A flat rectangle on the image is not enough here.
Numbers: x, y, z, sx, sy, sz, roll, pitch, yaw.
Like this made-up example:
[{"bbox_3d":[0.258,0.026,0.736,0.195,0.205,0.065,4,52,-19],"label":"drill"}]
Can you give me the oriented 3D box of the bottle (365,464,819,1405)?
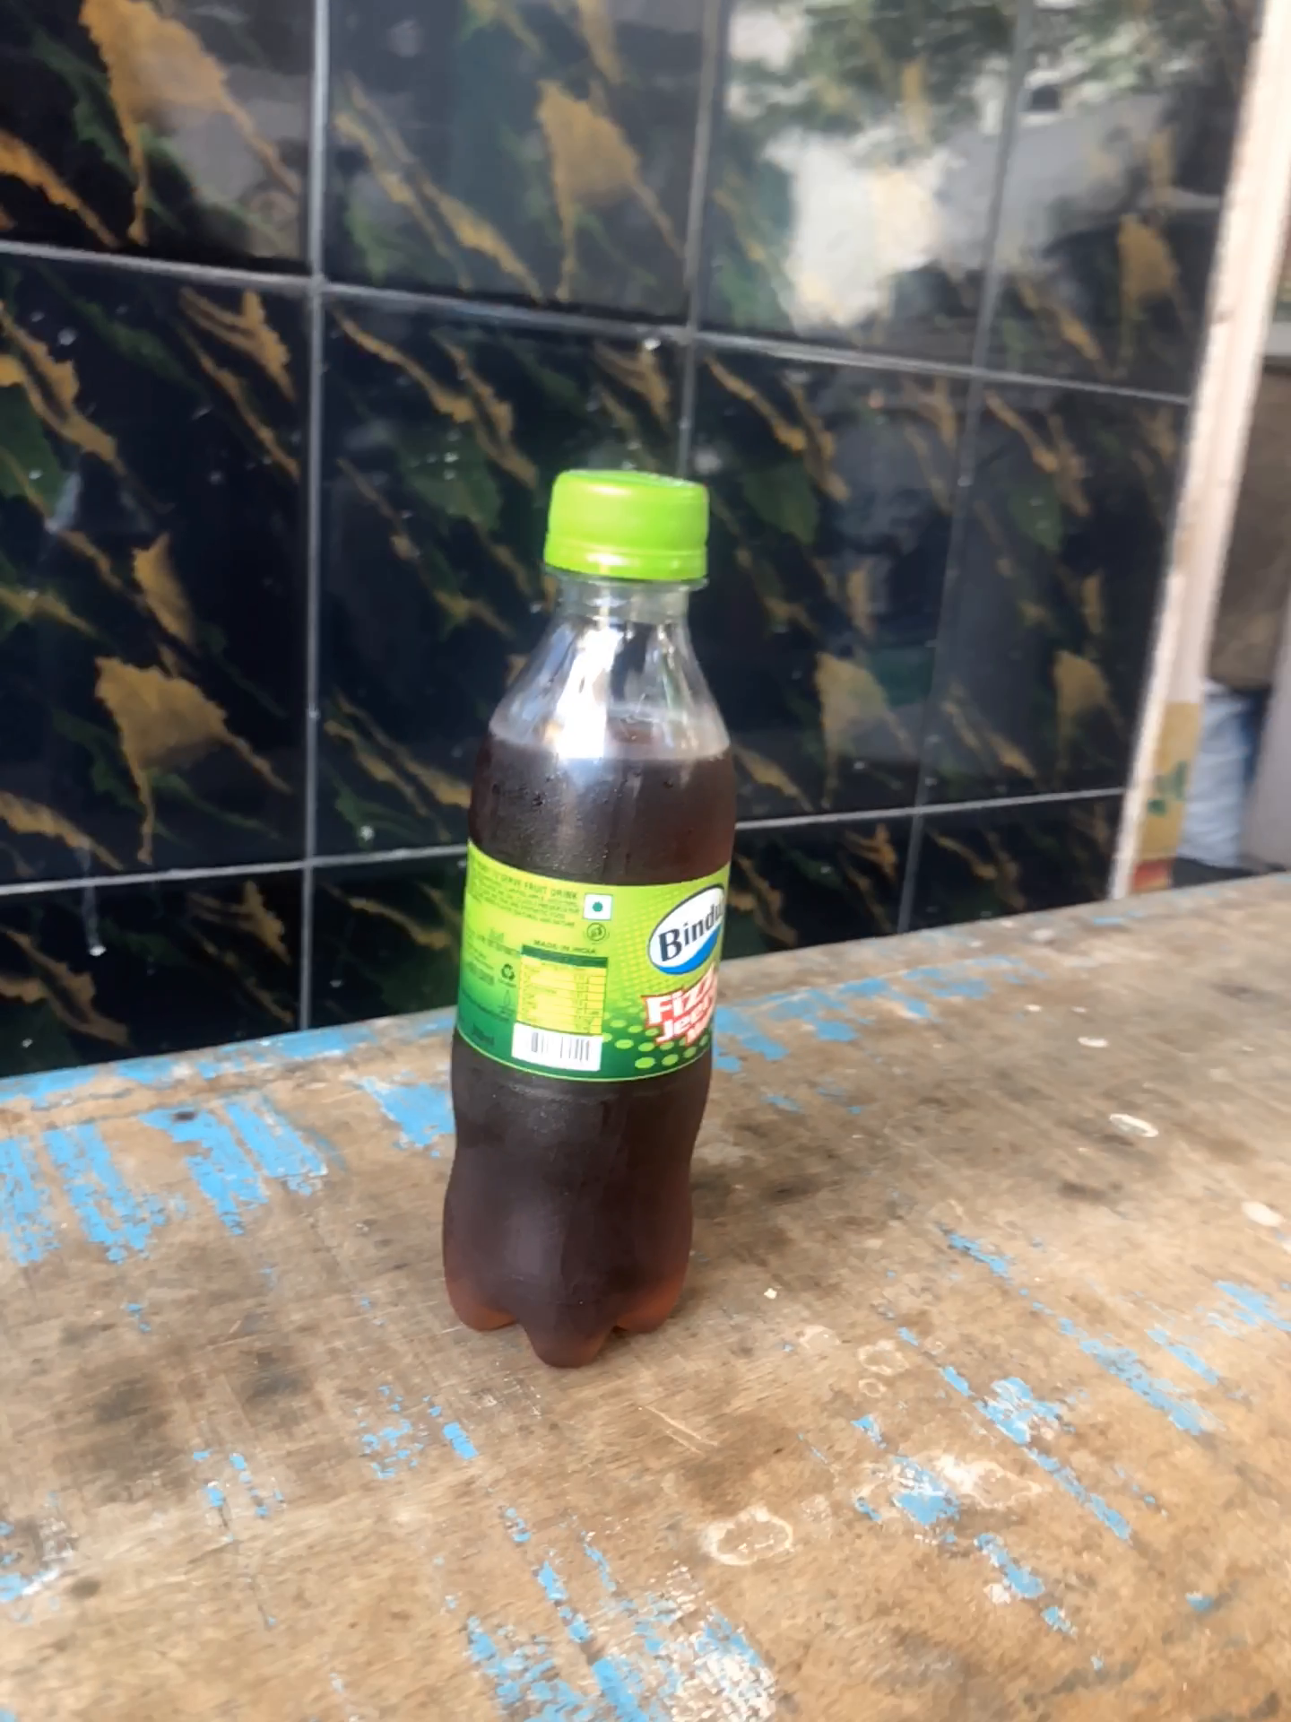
[{"bbox_3d":[-0.014,0.011,0.307,0.060,0.179,0.060,4,16,-1],"label":"bottle"}]
